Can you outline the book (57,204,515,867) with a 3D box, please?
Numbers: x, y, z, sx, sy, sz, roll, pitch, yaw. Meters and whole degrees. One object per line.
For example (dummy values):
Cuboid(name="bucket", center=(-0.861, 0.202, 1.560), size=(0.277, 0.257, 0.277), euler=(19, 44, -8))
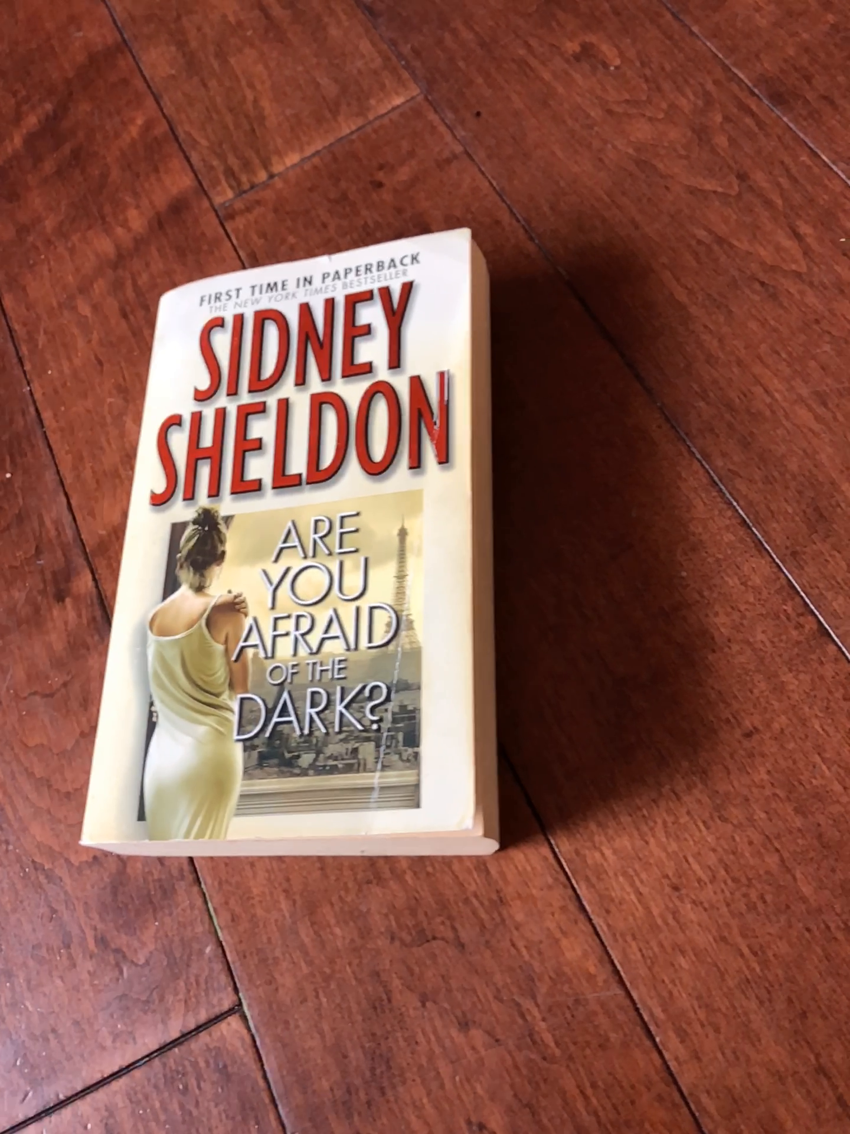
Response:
Cuboid(name="book", center=(-0.033, -0.010, 0.274), size=(0.108, 0.040, 0.180), euler=(-6, 66, 16))
